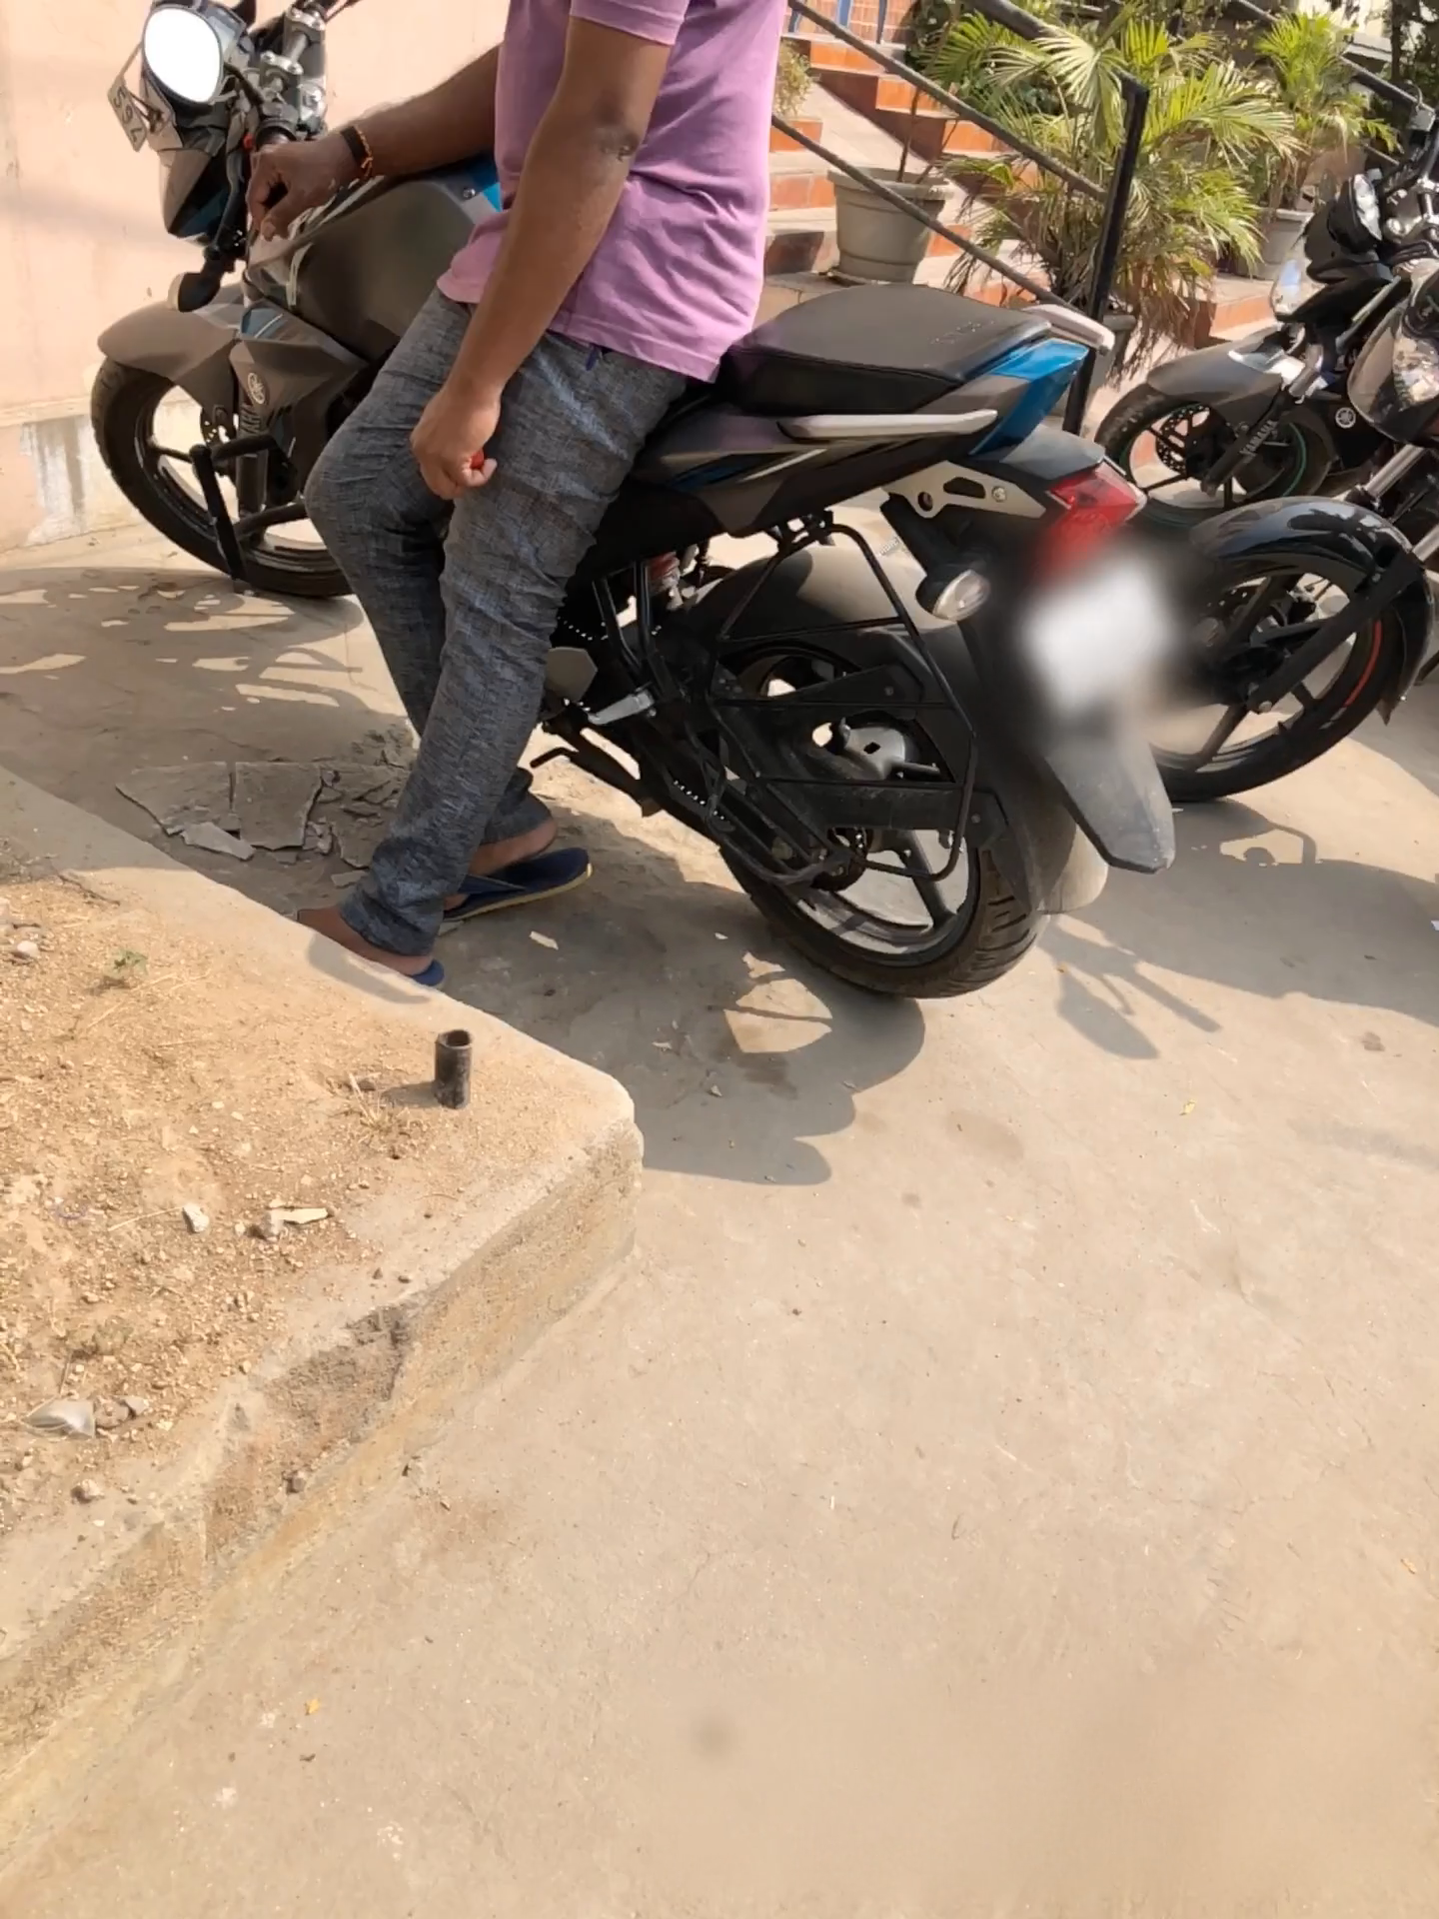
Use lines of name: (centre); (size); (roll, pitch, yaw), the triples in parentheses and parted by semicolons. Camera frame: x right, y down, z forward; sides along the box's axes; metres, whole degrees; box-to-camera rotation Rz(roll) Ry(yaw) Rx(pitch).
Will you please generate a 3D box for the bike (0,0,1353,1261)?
bike: (-0.425, -0.792, 1.947); (1.825, 1.222, 0.814); (30, 37, 25)
